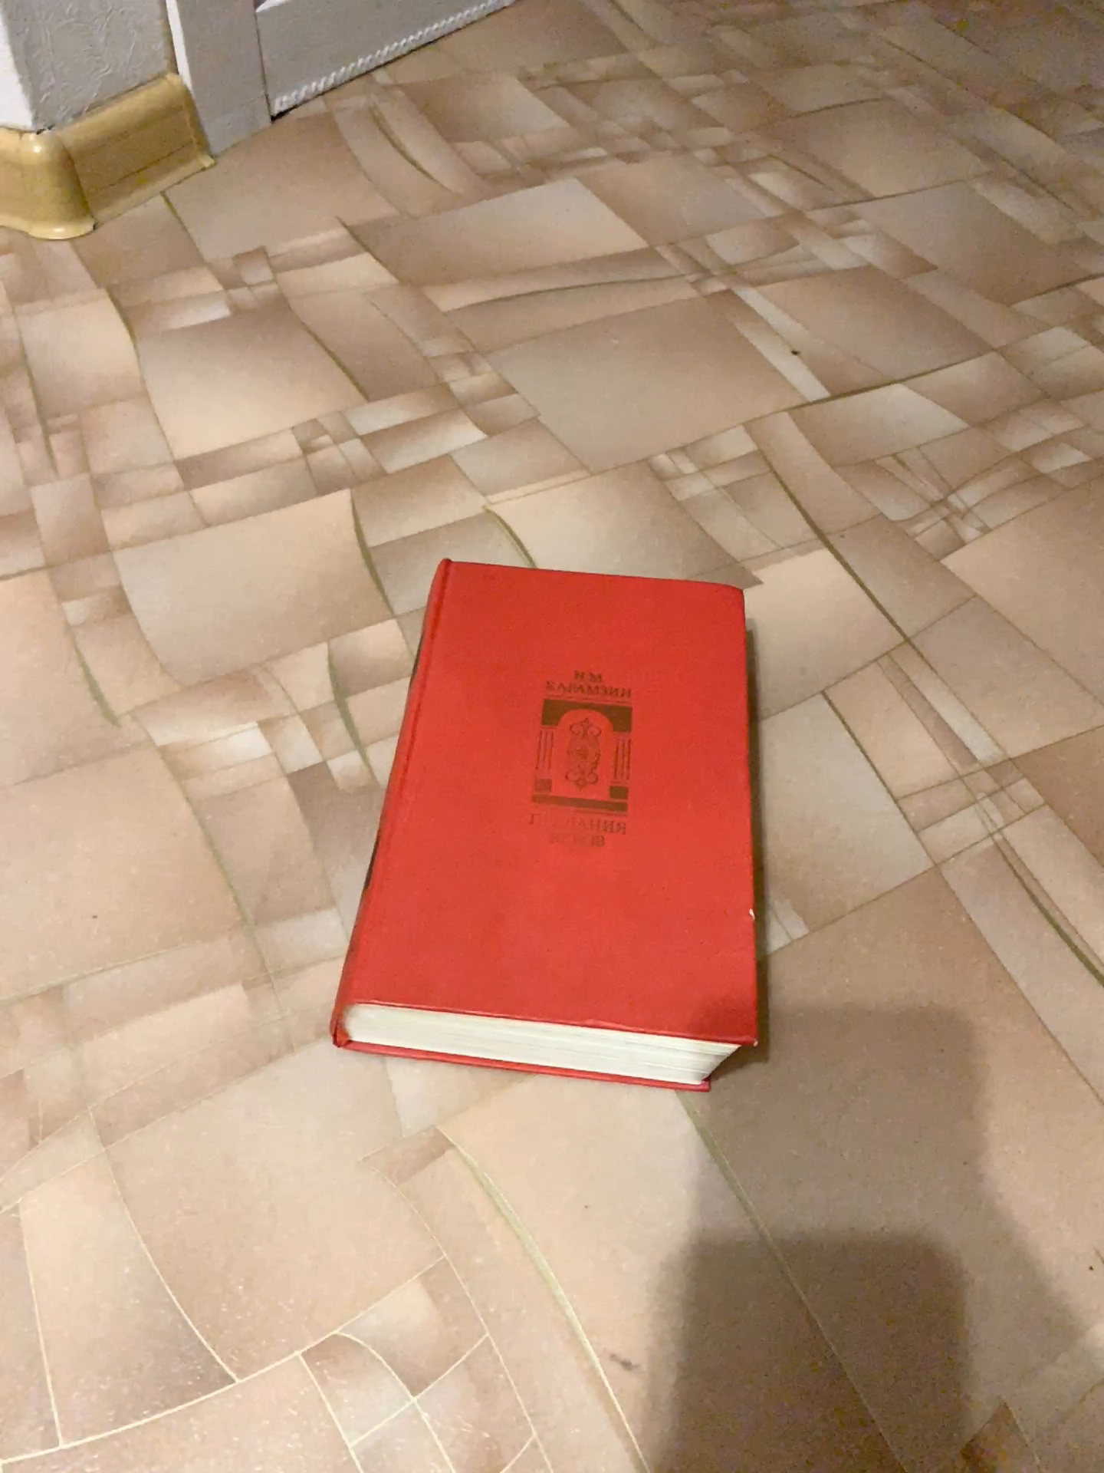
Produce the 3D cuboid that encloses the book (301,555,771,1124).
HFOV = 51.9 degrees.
[{"bbox_3d":[0.006,0.026,0.416,0.140,0.050,0.201,5,52,5],"label":"book"}]
